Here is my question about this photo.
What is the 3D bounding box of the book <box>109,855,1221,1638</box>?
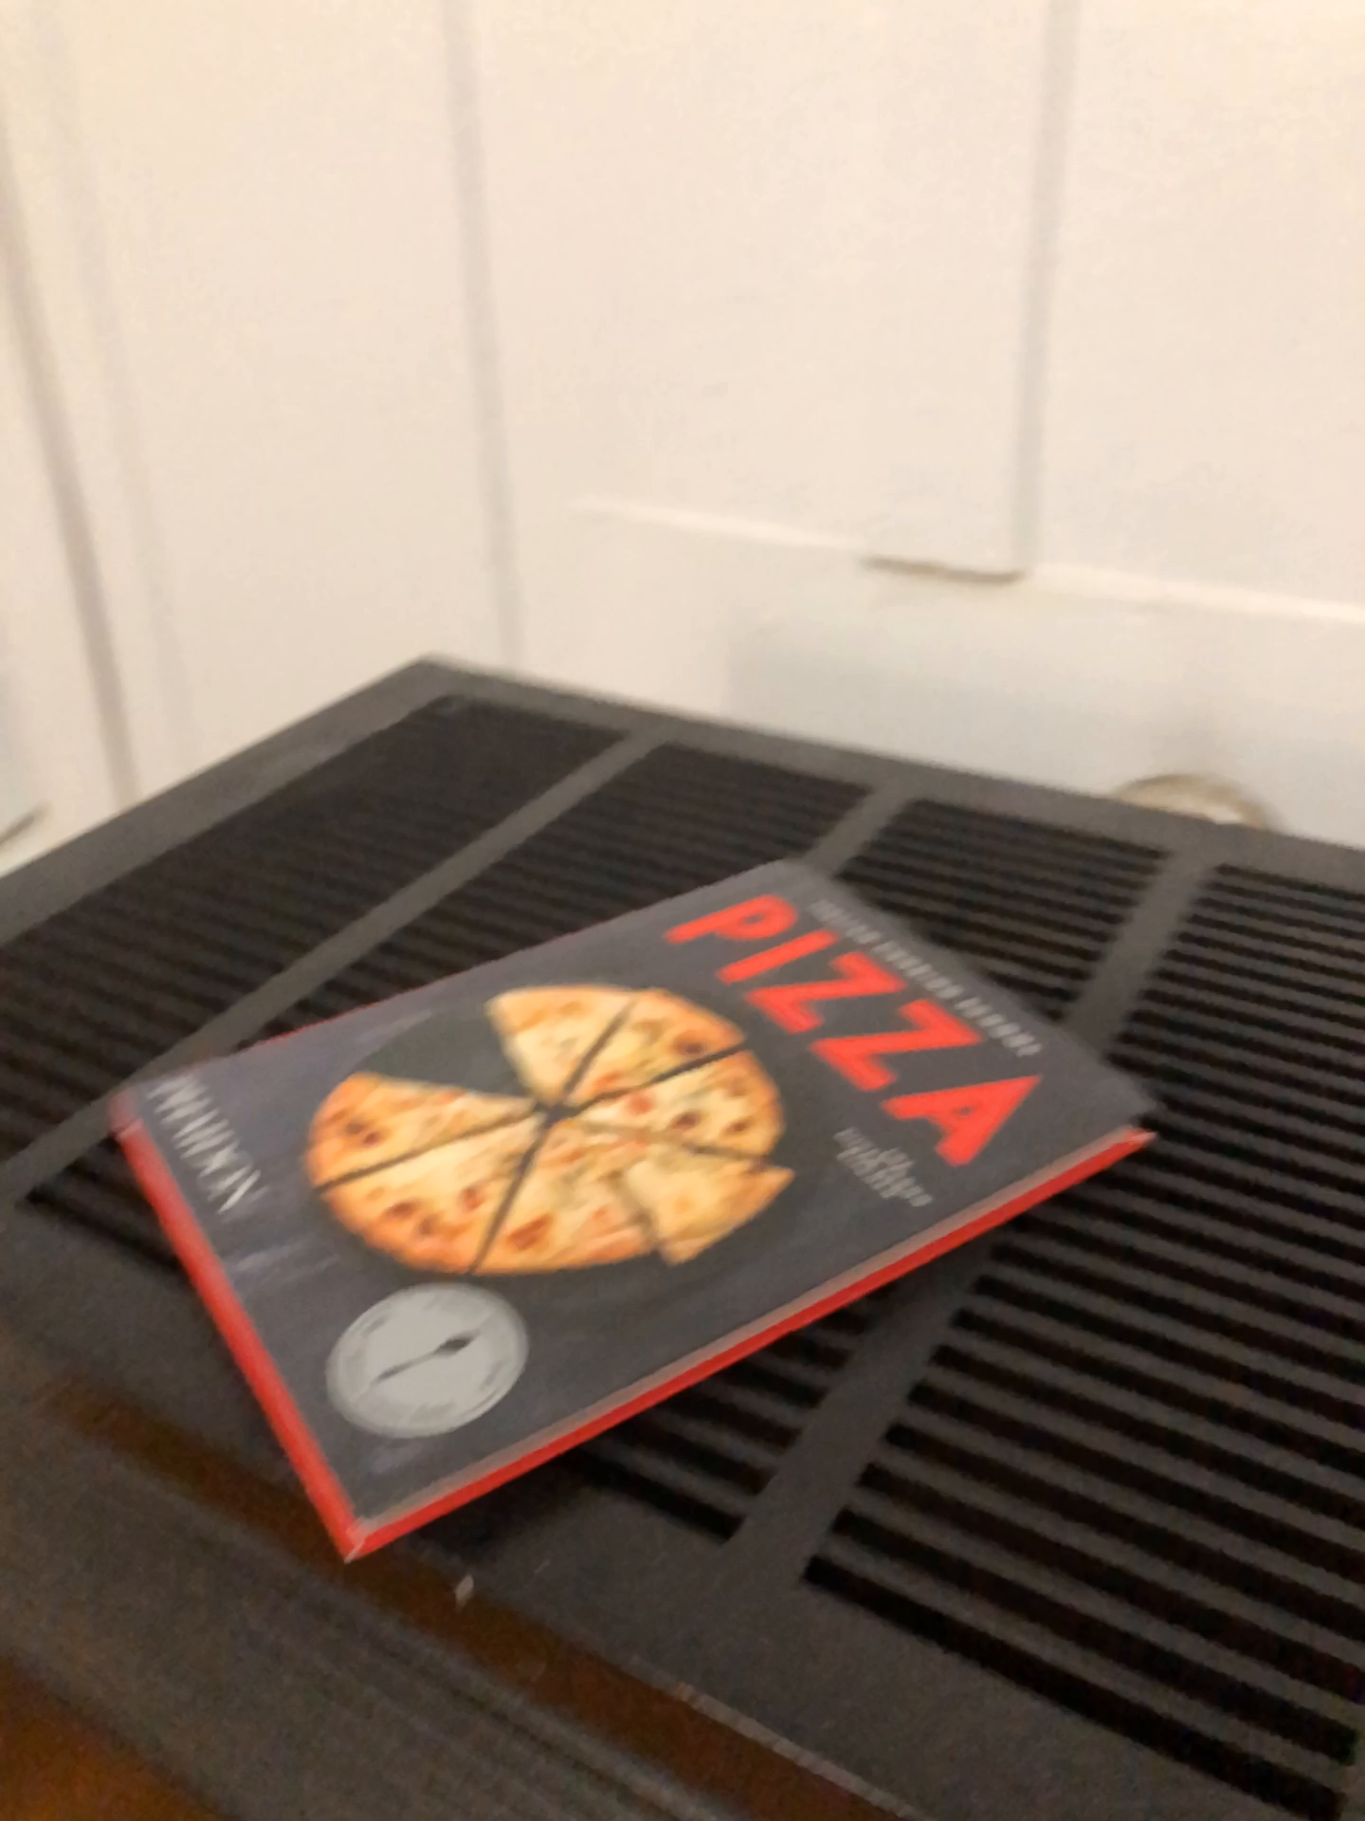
[{"bbox_3d":[-0.009,0.059,0.402,0.230,0.020,0.181,-19,34,-28],"label":"book"}]
